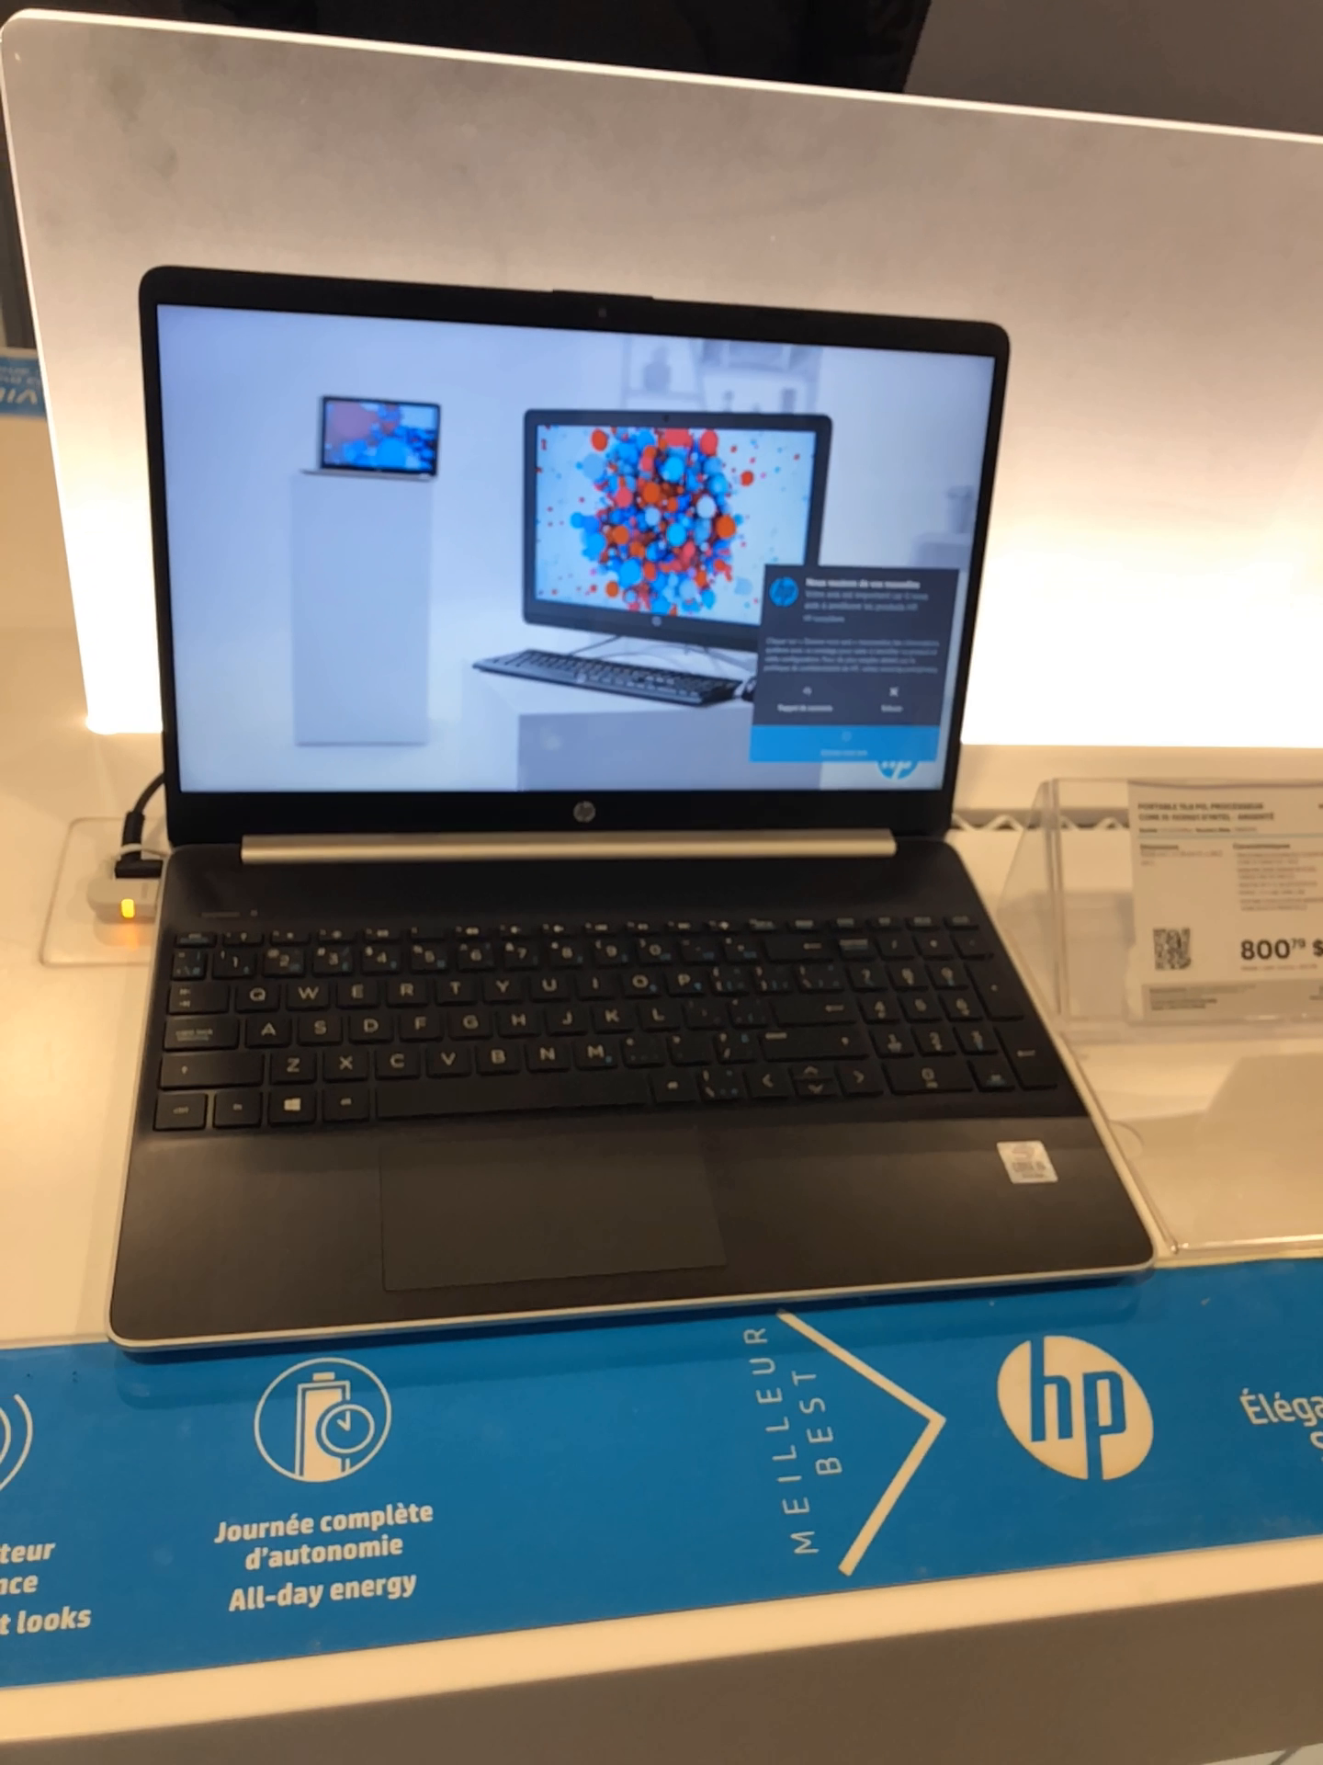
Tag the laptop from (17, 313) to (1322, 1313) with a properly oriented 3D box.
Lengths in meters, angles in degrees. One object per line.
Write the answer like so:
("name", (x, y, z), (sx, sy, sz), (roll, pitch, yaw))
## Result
("laptop", (-0.009, -0.045, 0.533), (0.336, 0.206, 0.317), (0, 38, -11))
